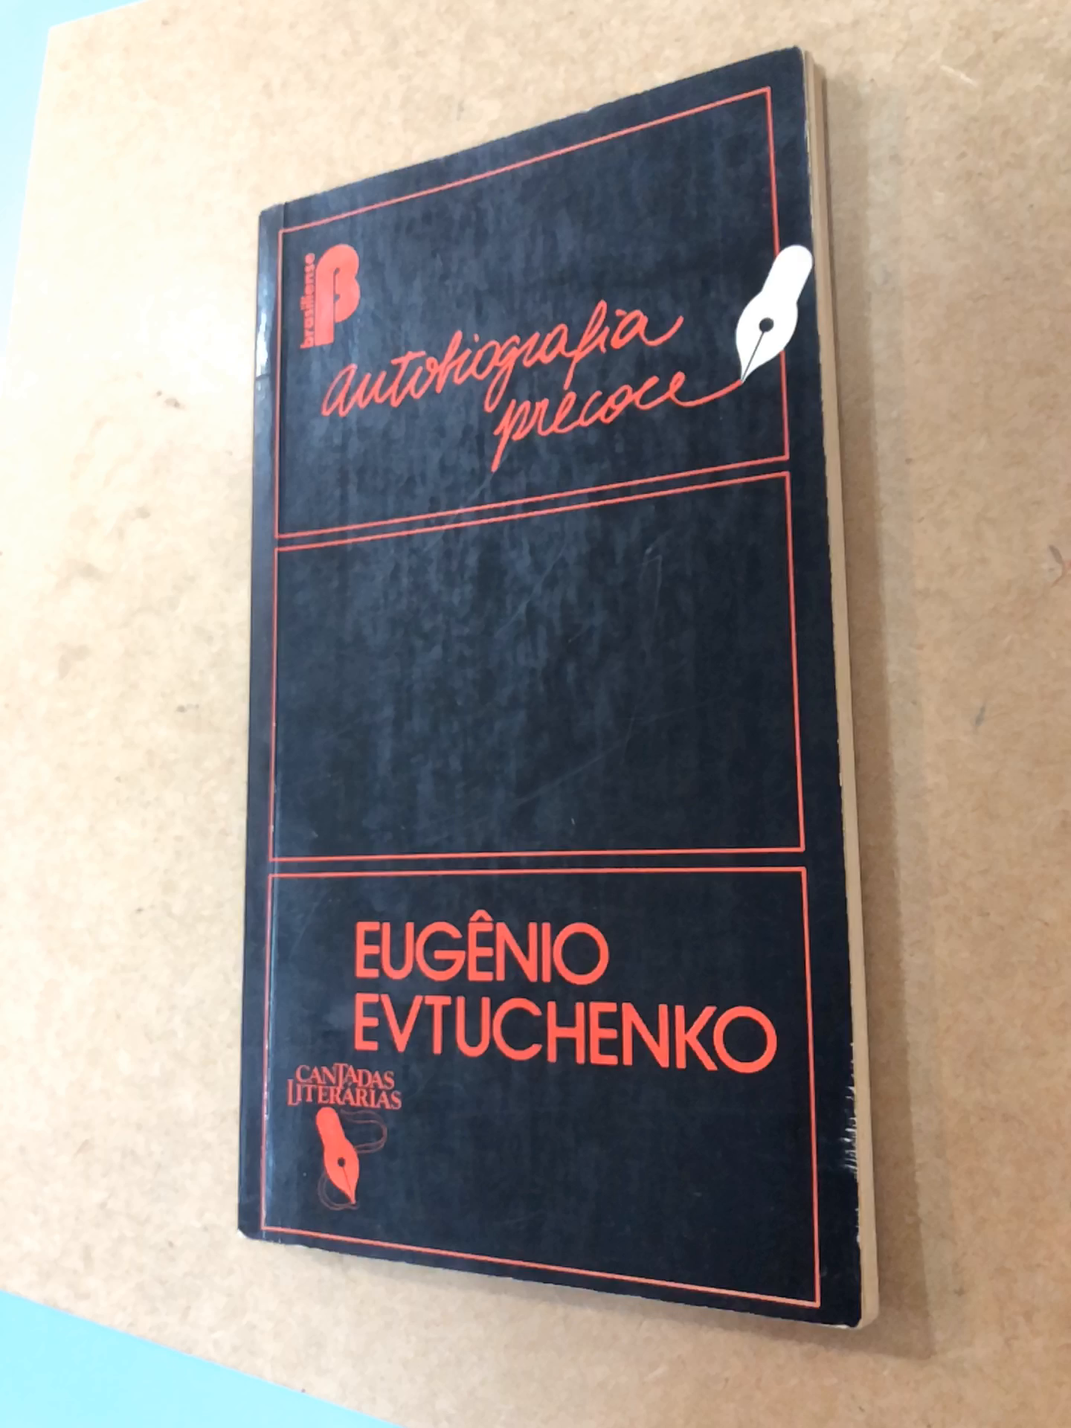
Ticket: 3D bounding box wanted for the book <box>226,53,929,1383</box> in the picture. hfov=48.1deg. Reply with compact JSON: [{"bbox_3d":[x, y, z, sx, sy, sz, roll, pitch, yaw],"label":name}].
[{"bbox_3d":[0.001,-0.002,0.202,0.114,0.016,0.190,-4,81,26],"label":"book"}]
